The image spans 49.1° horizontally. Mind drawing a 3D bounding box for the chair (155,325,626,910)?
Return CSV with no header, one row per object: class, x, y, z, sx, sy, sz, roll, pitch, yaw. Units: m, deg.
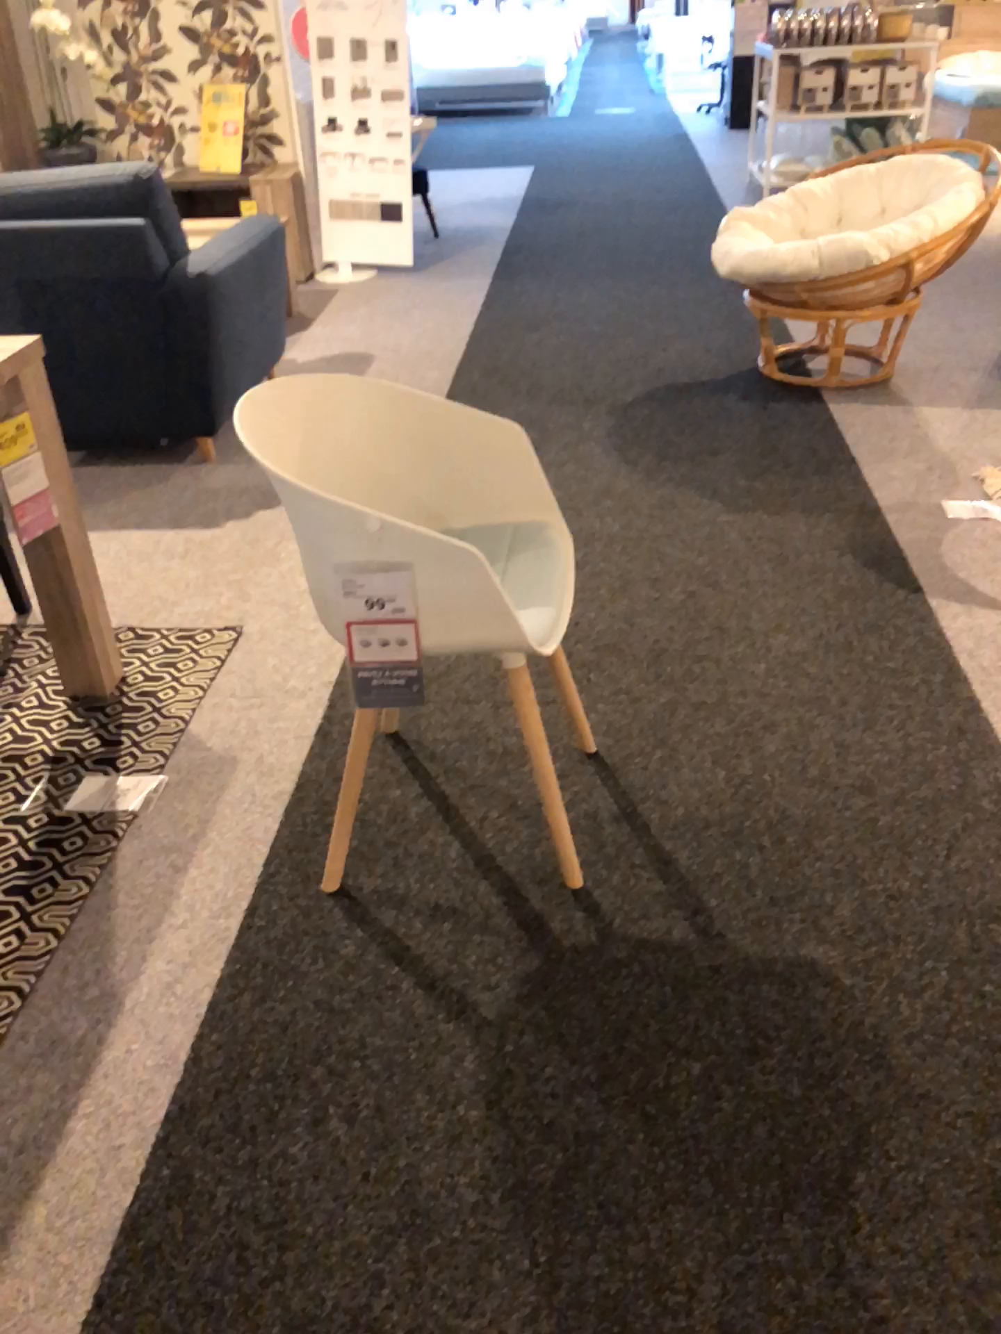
chair,-0.102,-0.099,1.804,0.580,0.766,0.554,2,31,8
